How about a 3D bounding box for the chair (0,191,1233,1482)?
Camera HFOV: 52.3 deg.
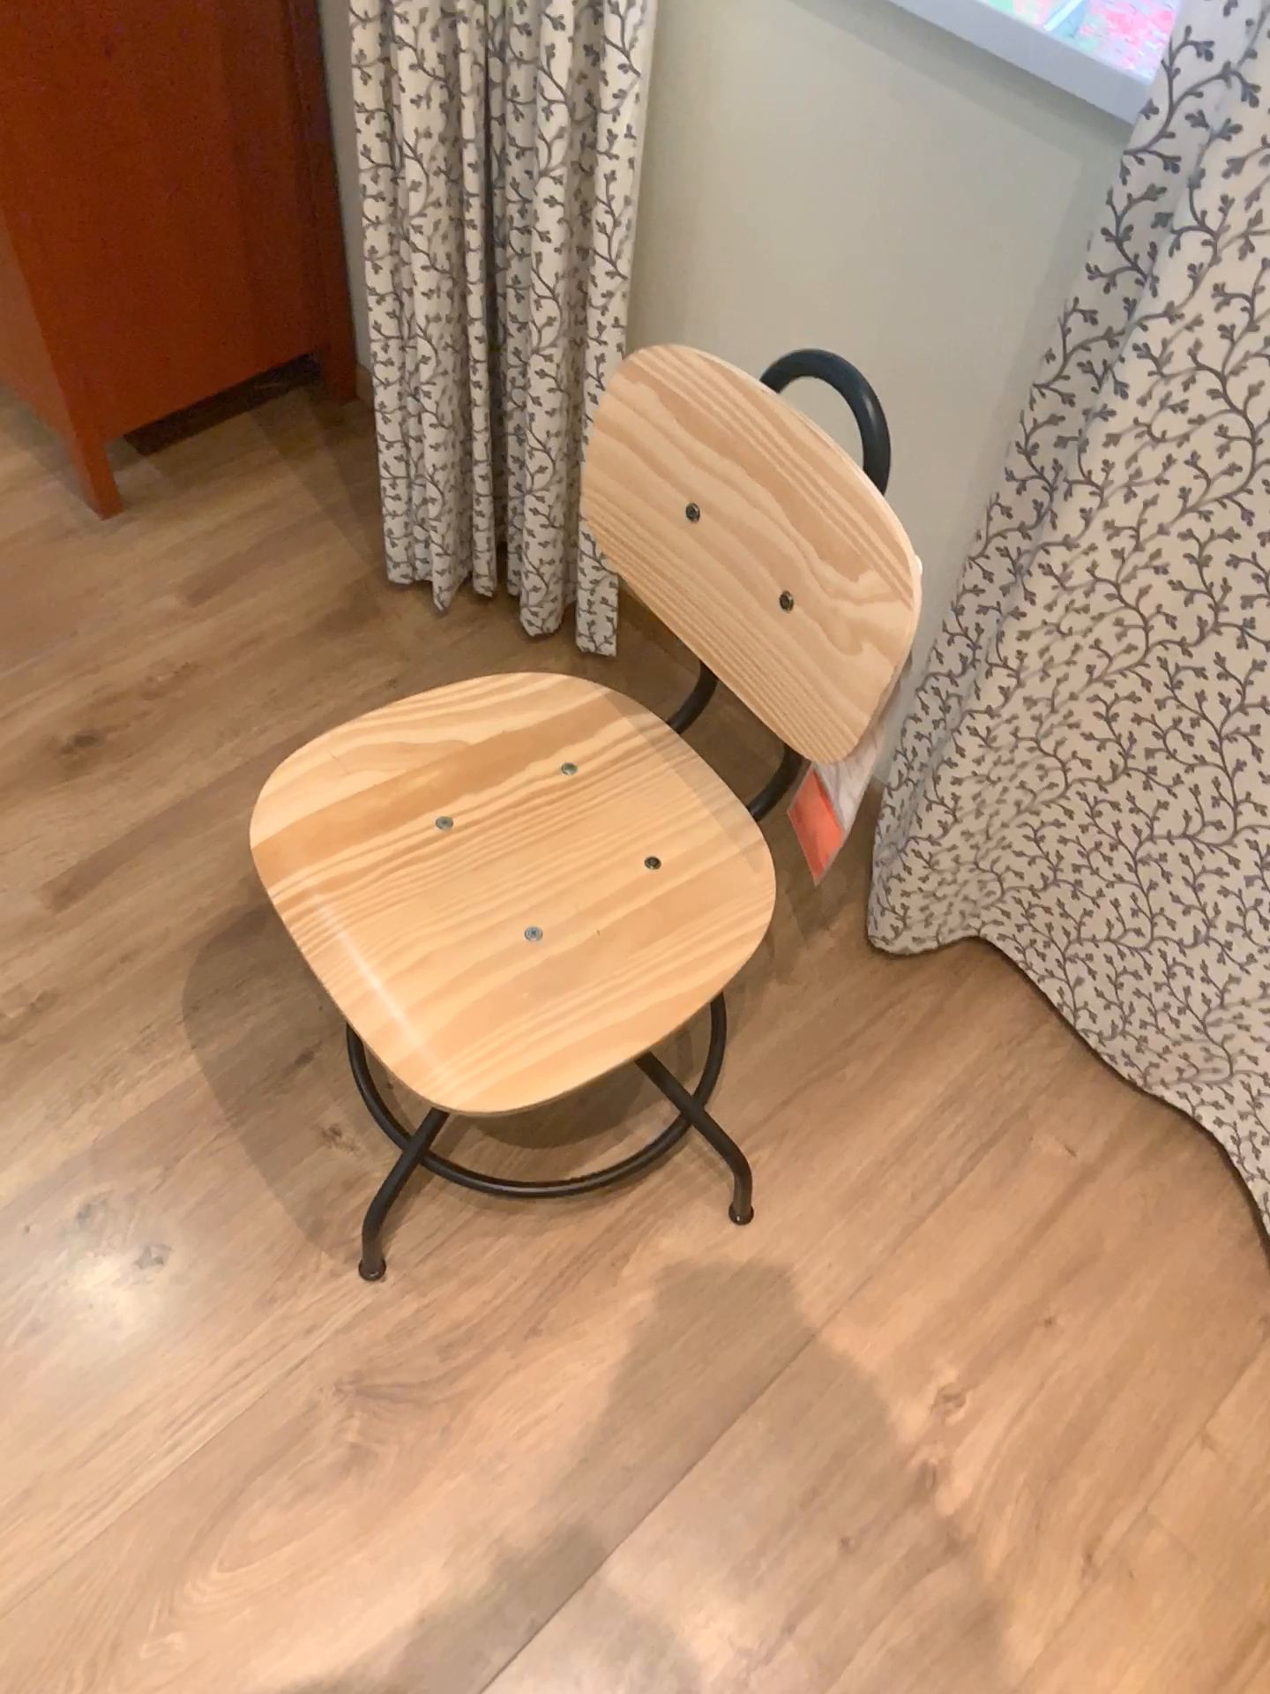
[{"bbox_3d":[-0.082,0.001,1.036,0.621,0.648,0.561,-29,62,-23],"label":"chair"}]
